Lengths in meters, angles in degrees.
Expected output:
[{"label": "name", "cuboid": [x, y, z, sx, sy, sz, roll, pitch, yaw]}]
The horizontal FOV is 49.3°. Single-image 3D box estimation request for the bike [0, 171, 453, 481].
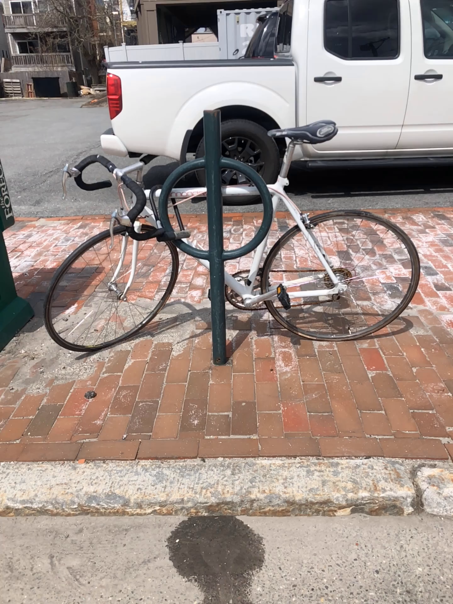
[{"label": "bike", "cuboid": [0.045, 0.031, 1.584, 1.274, 0.650, 0.467, -7, 24, -5]}]
